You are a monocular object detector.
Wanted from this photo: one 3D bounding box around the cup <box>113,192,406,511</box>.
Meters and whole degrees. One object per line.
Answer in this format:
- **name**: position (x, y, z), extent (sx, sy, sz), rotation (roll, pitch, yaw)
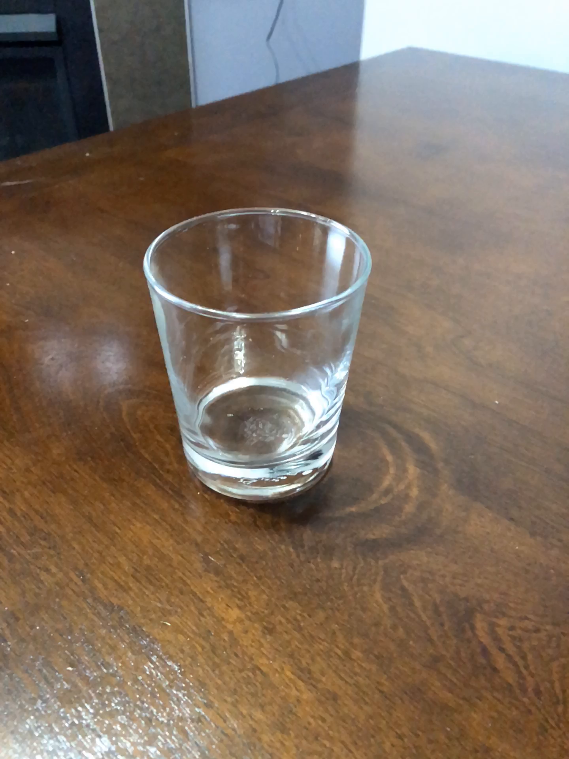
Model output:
- **cup**: position (-0.007, -0.014, 0.258), extent (0.090, 0.090, 0.090), rotation (1, 38, -1)
